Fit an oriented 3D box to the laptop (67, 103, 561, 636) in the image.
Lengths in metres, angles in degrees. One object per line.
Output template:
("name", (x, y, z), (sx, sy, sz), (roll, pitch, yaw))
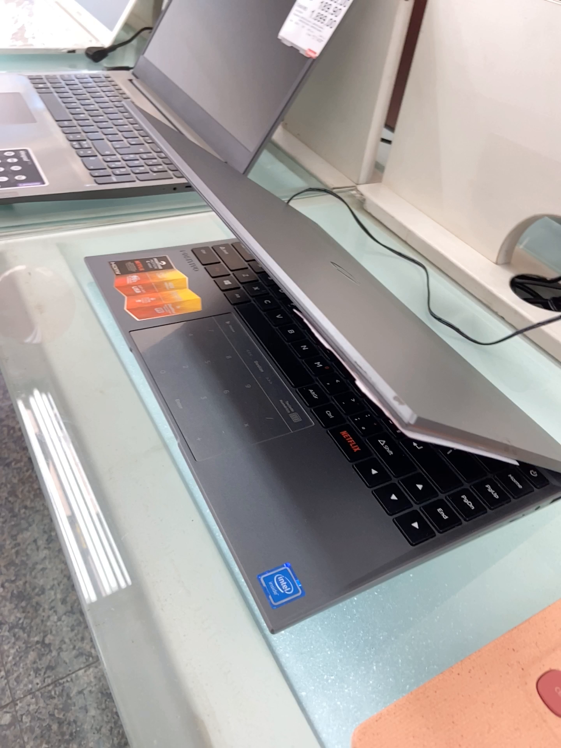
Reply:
("laptop", (0.016, -0.055, 0.370), (0.211, 0.113, 0.334), (-14, 46, -25))
